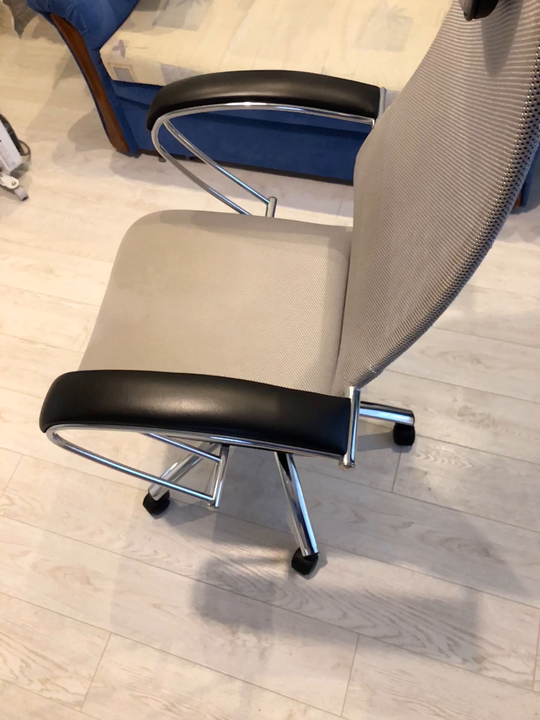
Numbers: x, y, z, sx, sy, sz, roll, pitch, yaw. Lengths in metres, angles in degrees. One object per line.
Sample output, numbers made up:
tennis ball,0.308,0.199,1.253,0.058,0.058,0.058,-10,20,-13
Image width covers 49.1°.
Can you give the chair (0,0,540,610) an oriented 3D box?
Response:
chair,-0.081,-0.150,0.879,0.690,1.155,0.683,11,63,13
